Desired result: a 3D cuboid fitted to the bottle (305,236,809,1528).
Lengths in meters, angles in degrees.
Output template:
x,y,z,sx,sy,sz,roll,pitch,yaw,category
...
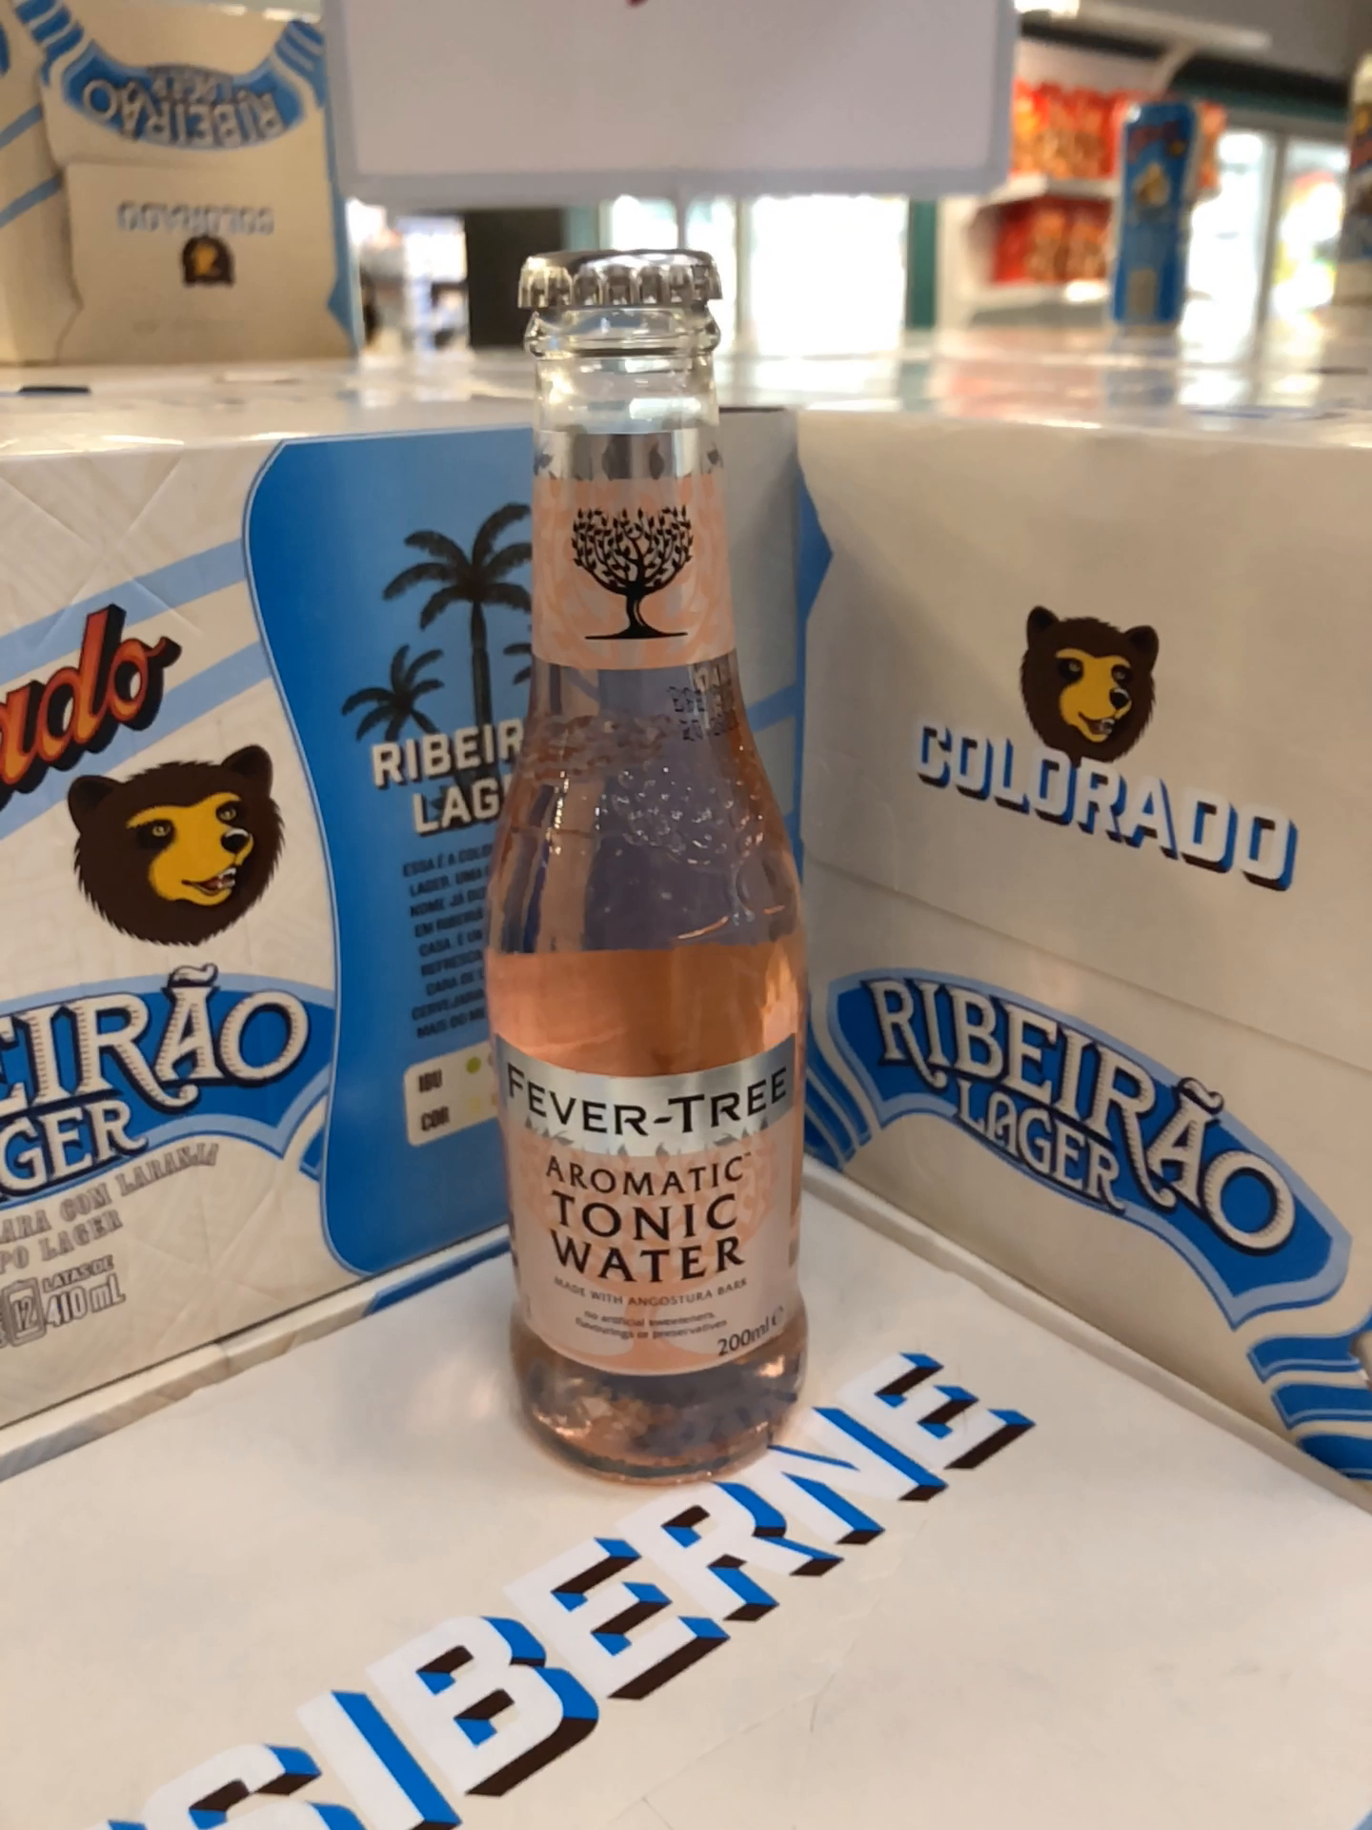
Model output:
x,y,z,sx,sy,sz,roll,pitch,yaw,category
-0.014,0.000,0.238,0.060,0.189,0.050,1,20,2,bottle
